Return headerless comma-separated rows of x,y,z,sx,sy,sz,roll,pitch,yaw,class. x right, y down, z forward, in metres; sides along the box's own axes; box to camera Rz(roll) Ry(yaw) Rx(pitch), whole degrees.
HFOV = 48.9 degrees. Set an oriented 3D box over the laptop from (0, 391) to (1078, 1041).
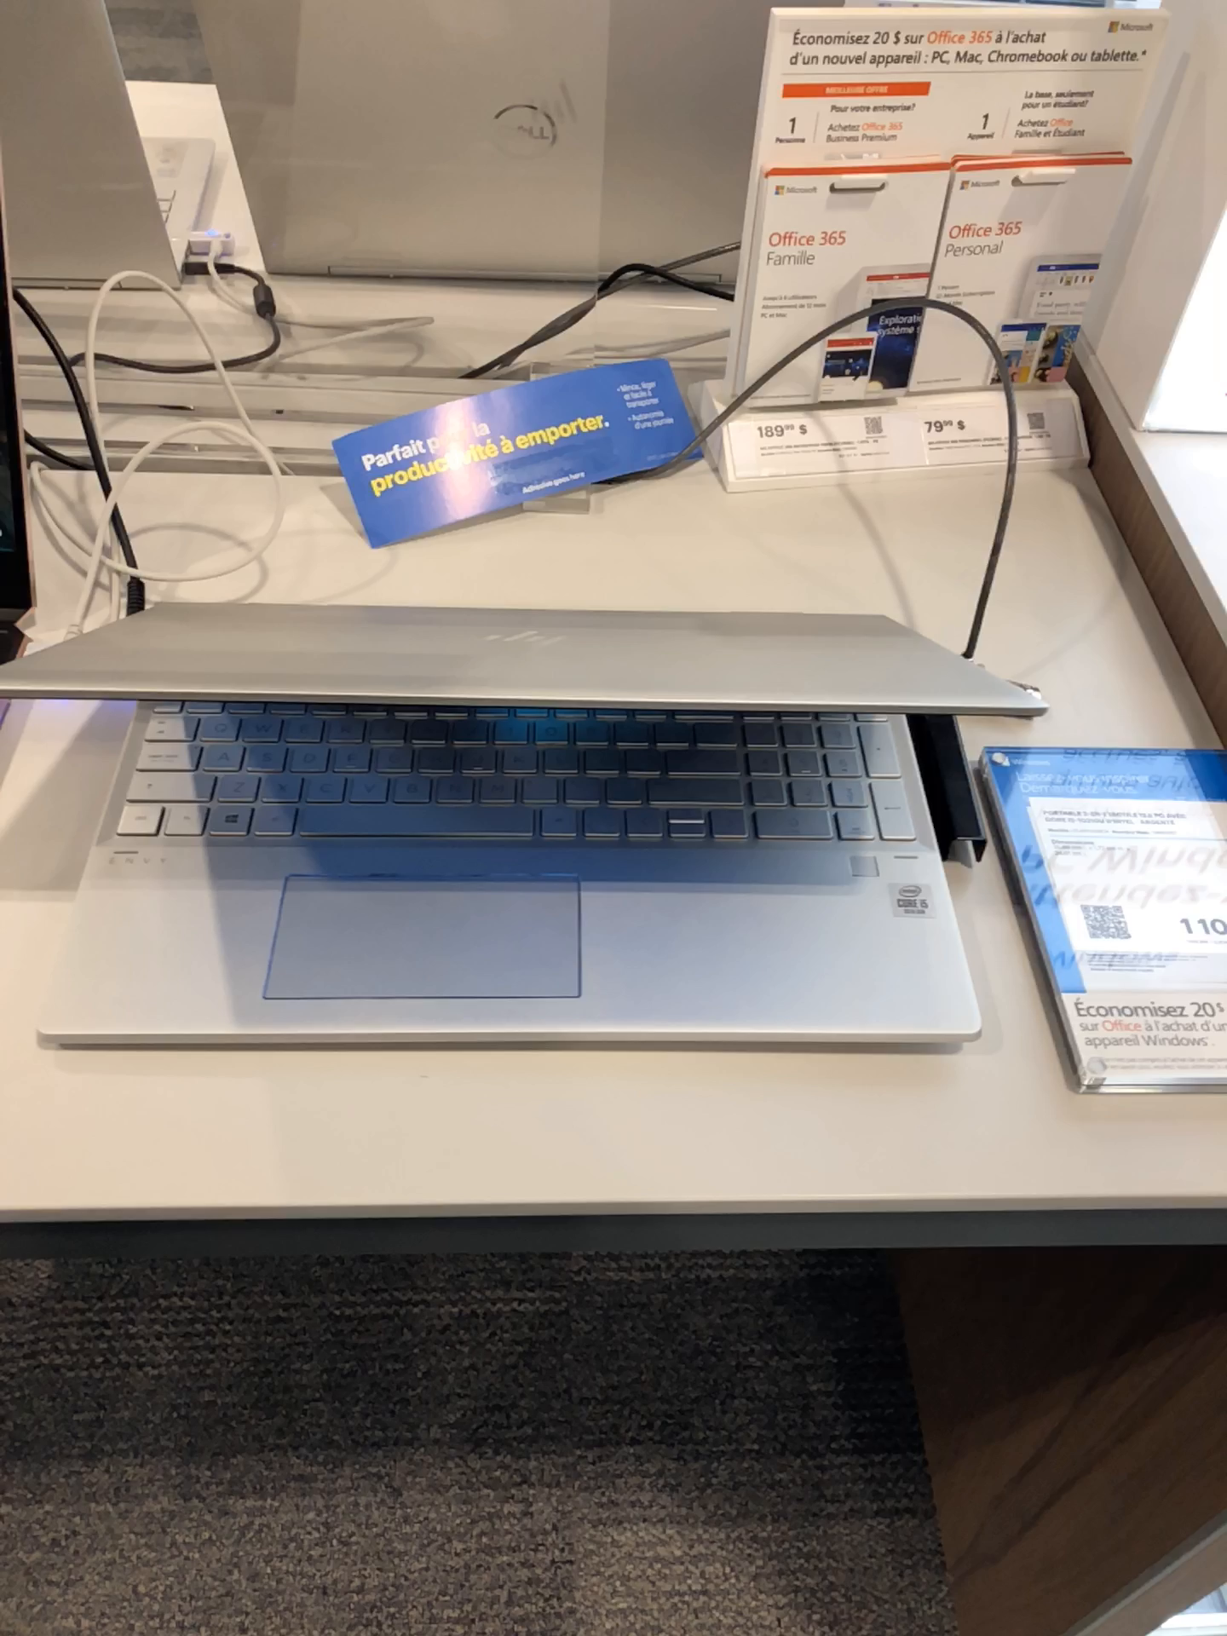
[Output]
-0.036,-0.047,0.528,0.346,0.116,0.230,1,49,-2,laptop
